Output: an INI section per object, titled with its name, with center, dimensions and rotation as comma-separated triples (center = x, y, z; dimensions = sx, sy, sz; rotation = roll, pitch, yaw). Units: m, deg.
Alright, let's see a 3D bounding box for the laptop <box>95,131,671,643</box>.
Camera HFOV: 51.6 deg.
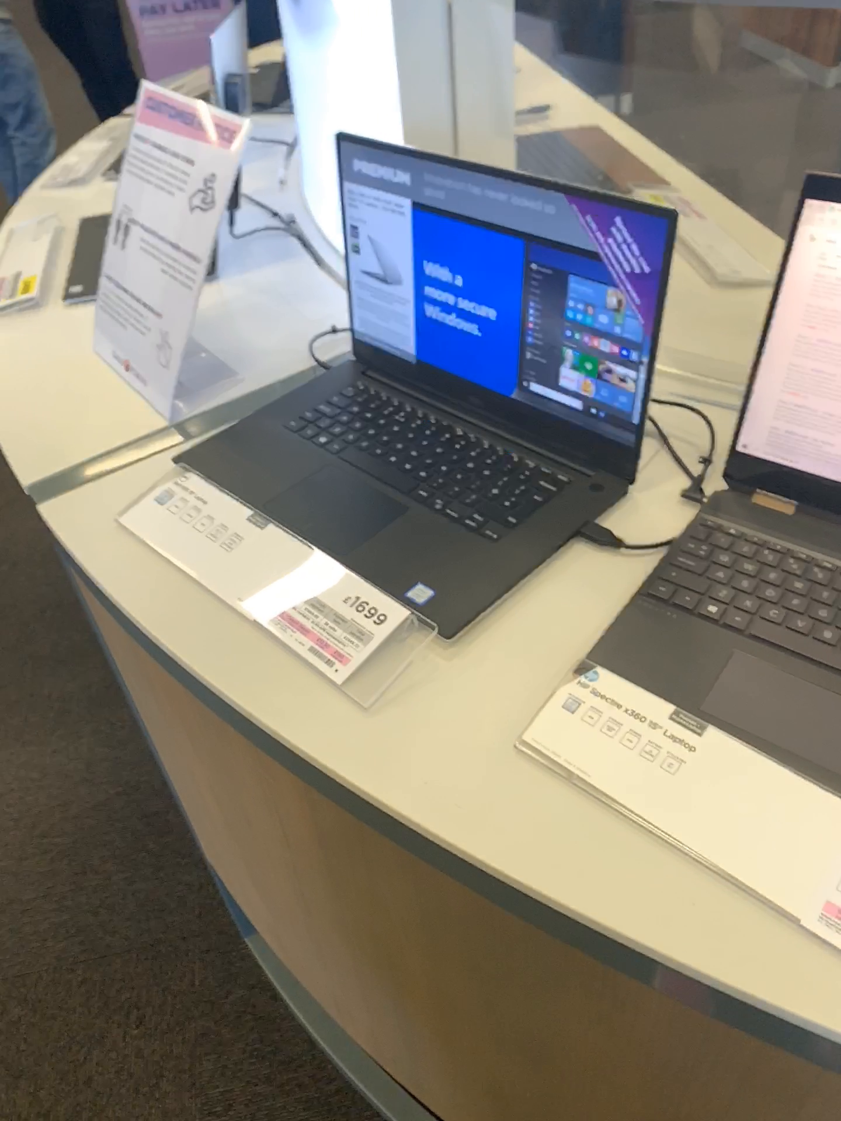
[laptop]
center = -0.029, -0.167, 0.707
dimensions = 0.352, 0.224, 0.254
rotation = 30, 53, 33
